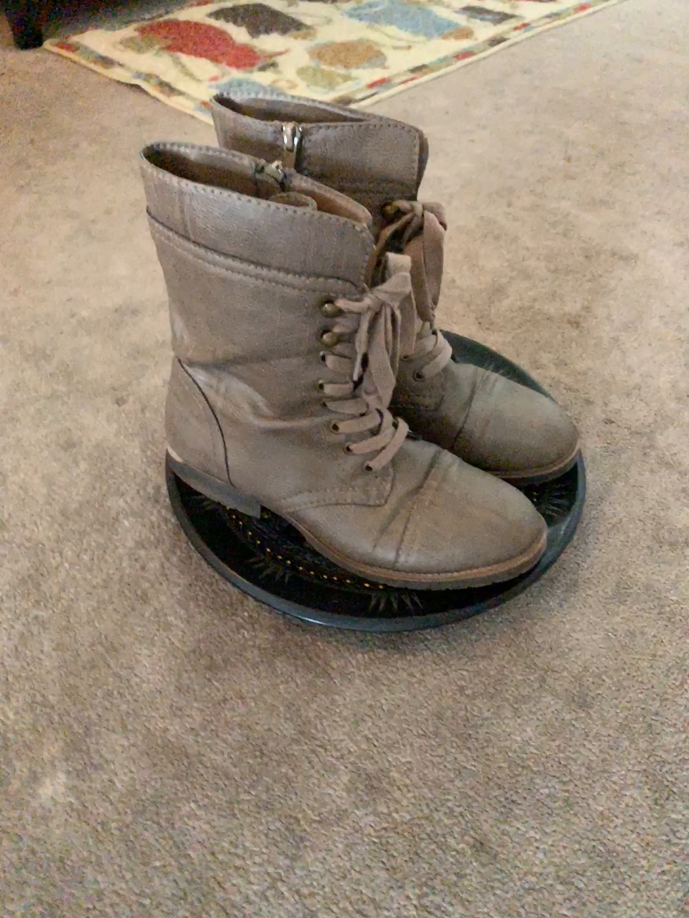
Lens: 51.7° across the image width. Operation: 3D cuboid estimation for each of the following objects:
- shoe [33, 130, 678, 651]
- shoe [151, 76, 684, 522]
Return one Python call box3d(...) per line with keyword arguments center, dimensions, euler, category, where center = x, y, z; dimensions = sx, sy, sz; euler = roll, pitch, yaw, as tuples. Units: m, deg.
box3d(center=(0.002, -0.036, 0.390), dimensions=(0.270, 0.198, 0.101), euler=(18, 49, 15), category="shoe")
box3d(center=(0.036, -0.102, 0.457), dimensions=(0.270, 0.198, 0.101), euler=(18, 49, 15), category="shoe")
